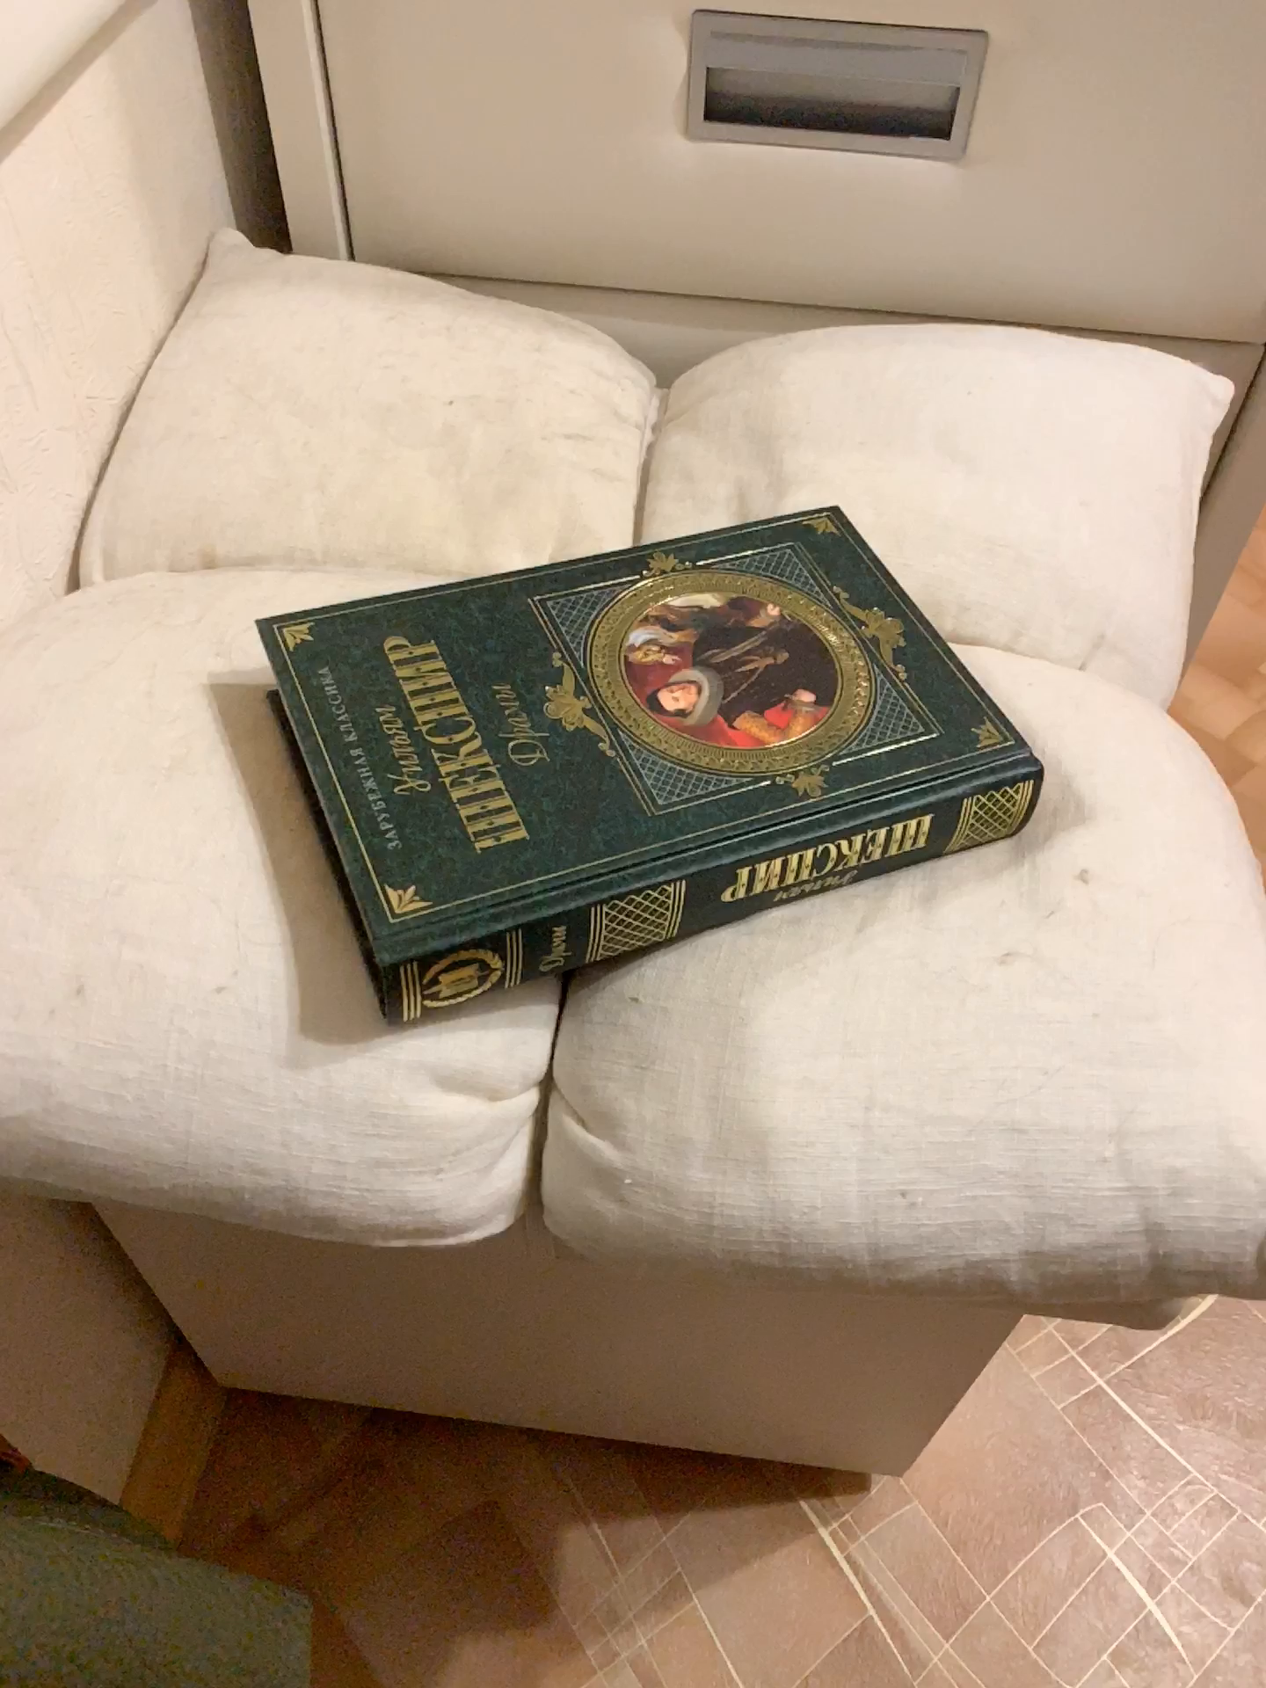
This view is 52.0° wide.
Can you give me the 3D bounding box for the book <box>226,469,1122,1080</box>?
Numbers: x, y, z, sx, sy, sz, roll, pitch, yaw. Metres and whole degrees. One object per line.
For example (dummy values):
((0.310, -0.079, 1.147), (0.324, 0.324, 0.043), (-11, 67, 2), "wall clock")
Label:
((0.008, -0.036, 0.393), (0.220, 0.040, 0.151), (-16, 54, -19), "book")
